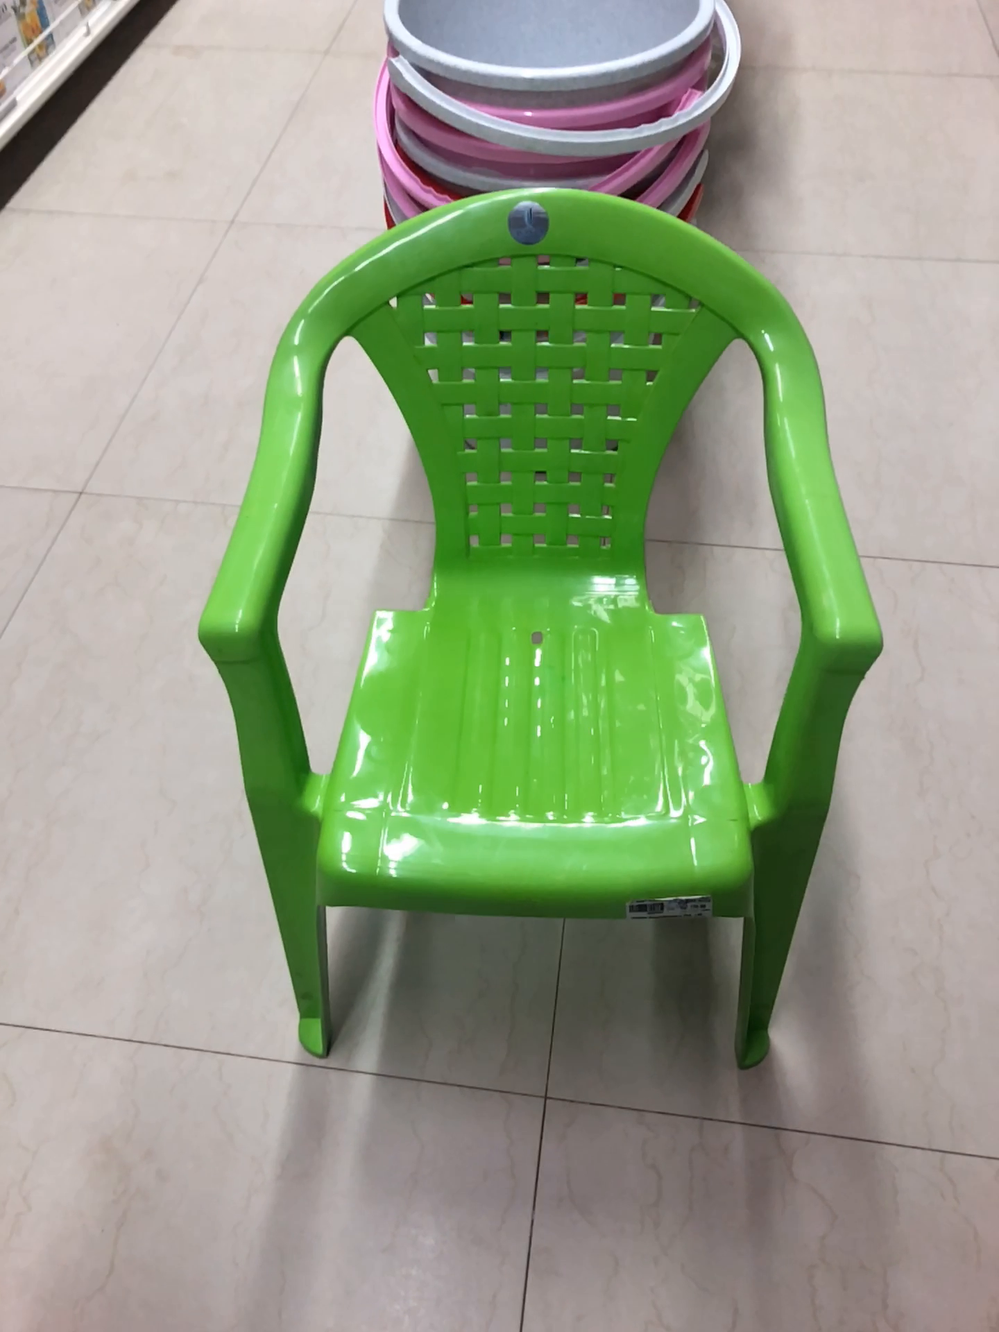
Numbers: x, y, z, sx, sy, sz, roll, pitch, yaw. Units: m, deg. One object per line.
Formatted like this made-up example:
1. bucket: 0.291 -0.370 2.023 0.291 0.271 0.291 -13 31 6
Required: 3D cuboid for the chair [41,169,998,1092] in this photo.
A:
1. chair: 0.026 0.016 0.693 0.360 0.517 0.312 2 51 3
